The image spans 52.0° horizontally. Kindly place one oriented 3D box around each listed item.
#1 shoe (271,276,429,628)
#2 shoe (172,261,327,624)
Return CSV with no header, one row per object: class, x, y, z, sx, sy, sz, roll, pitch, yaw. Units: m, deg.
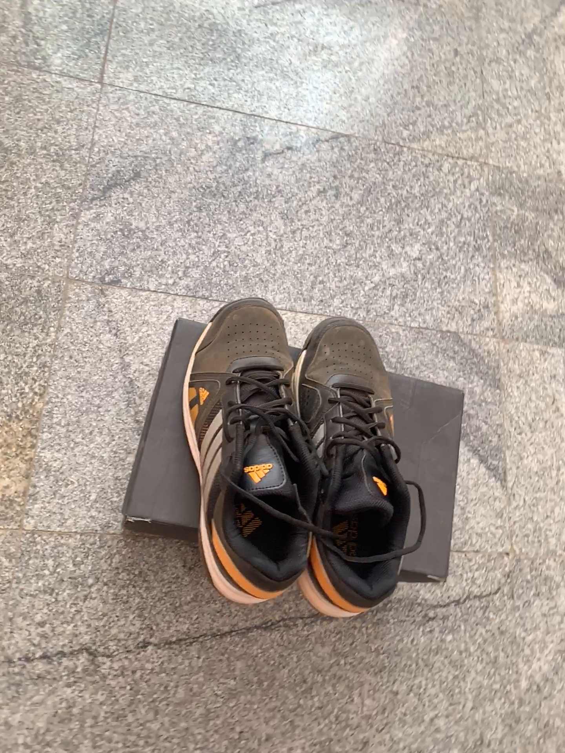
shoe,0.060,0.067,0.533,0.110,0.090,0.291,7,73,-11
shoe,-0.036,0.057,0.536,0.110,0.090,0.301,4,73,-20
